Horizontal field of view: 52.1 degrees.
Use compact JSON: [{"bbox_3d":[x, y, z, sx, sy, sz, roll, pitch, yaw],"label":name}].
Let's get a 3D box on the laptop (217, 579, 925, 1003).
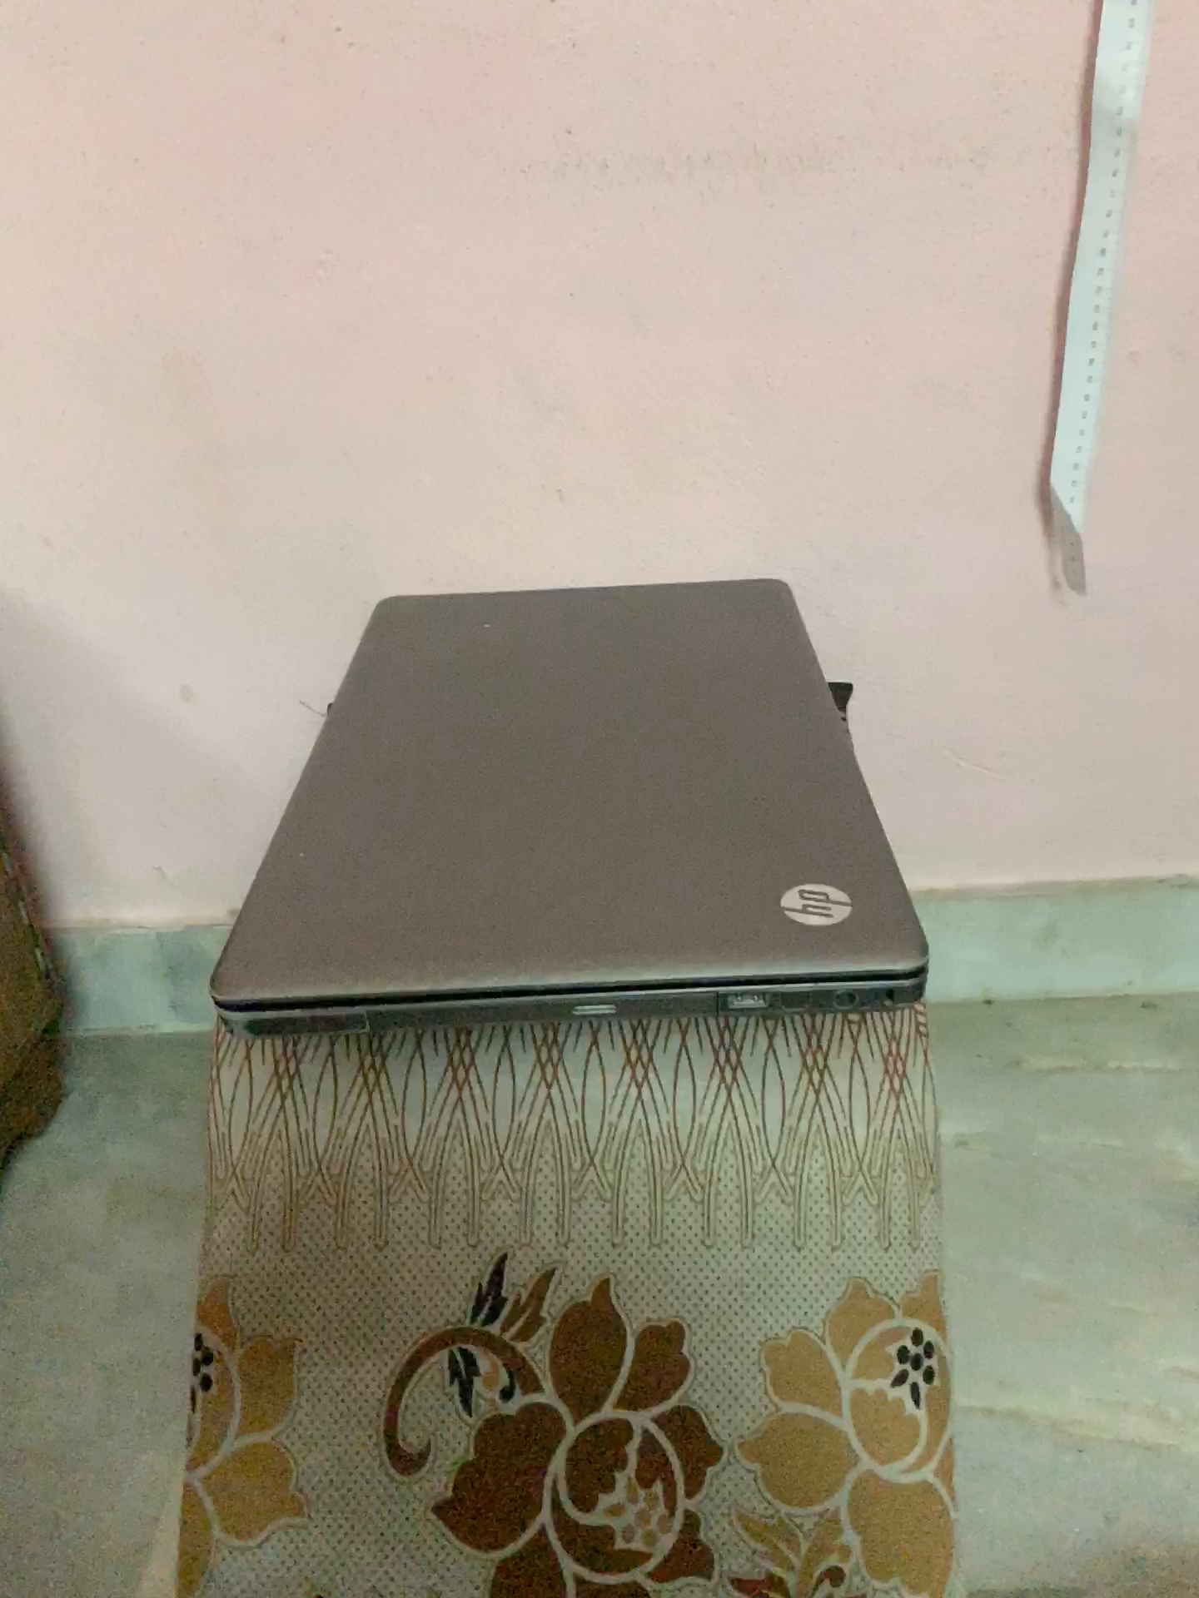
[{"bbox_3d":[-0.011,-0.032,0.594,0.249,0.002,0.381,-2,31,1],"label":"laptop"}]
